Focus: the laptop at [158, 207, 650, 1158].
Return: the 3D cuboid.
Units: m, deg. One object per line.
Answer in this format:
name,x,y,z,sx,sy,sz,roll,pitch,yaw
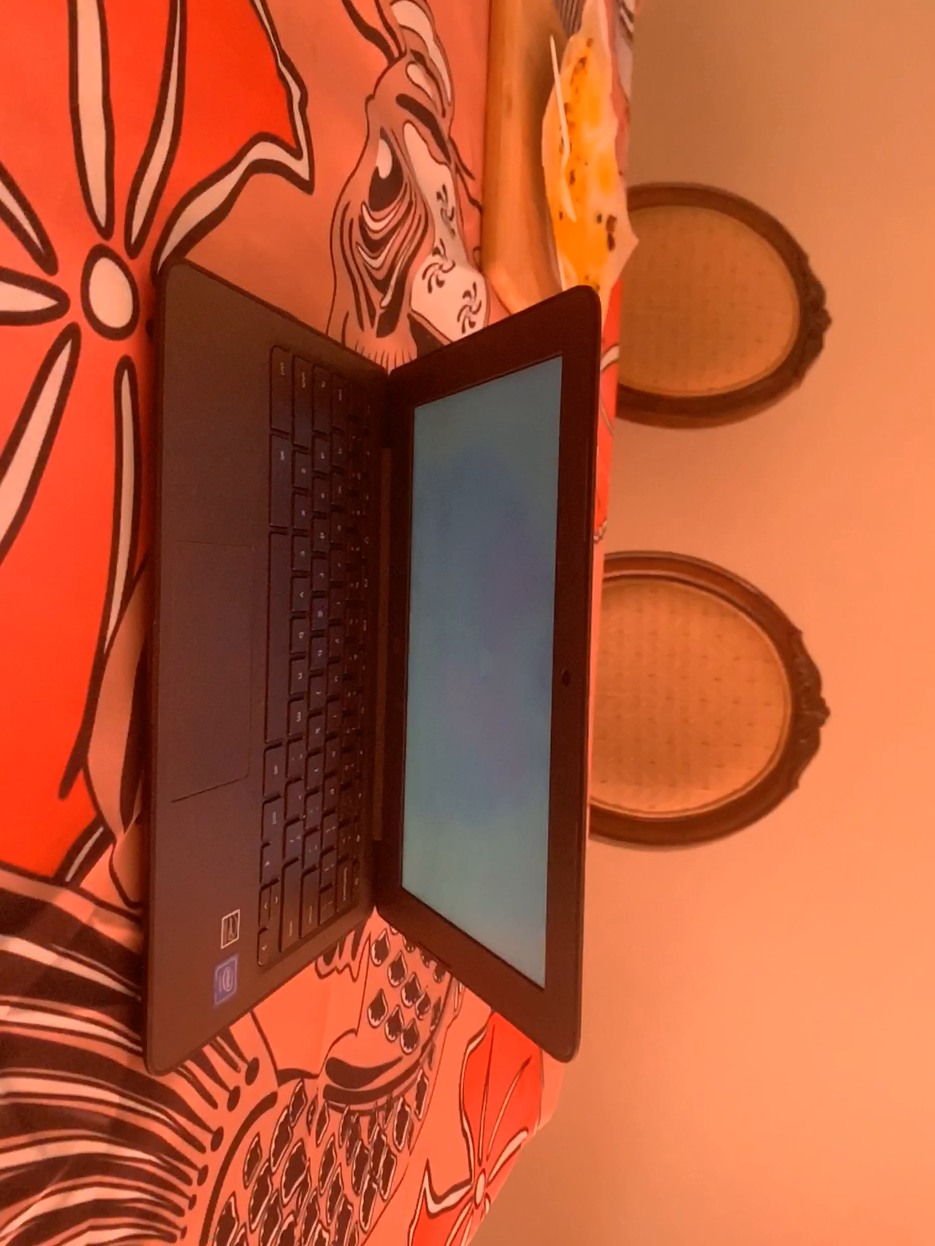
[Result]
laptop,-0.009,0.018,0.424,0.212,0.144,0.299,-6,98,-73
